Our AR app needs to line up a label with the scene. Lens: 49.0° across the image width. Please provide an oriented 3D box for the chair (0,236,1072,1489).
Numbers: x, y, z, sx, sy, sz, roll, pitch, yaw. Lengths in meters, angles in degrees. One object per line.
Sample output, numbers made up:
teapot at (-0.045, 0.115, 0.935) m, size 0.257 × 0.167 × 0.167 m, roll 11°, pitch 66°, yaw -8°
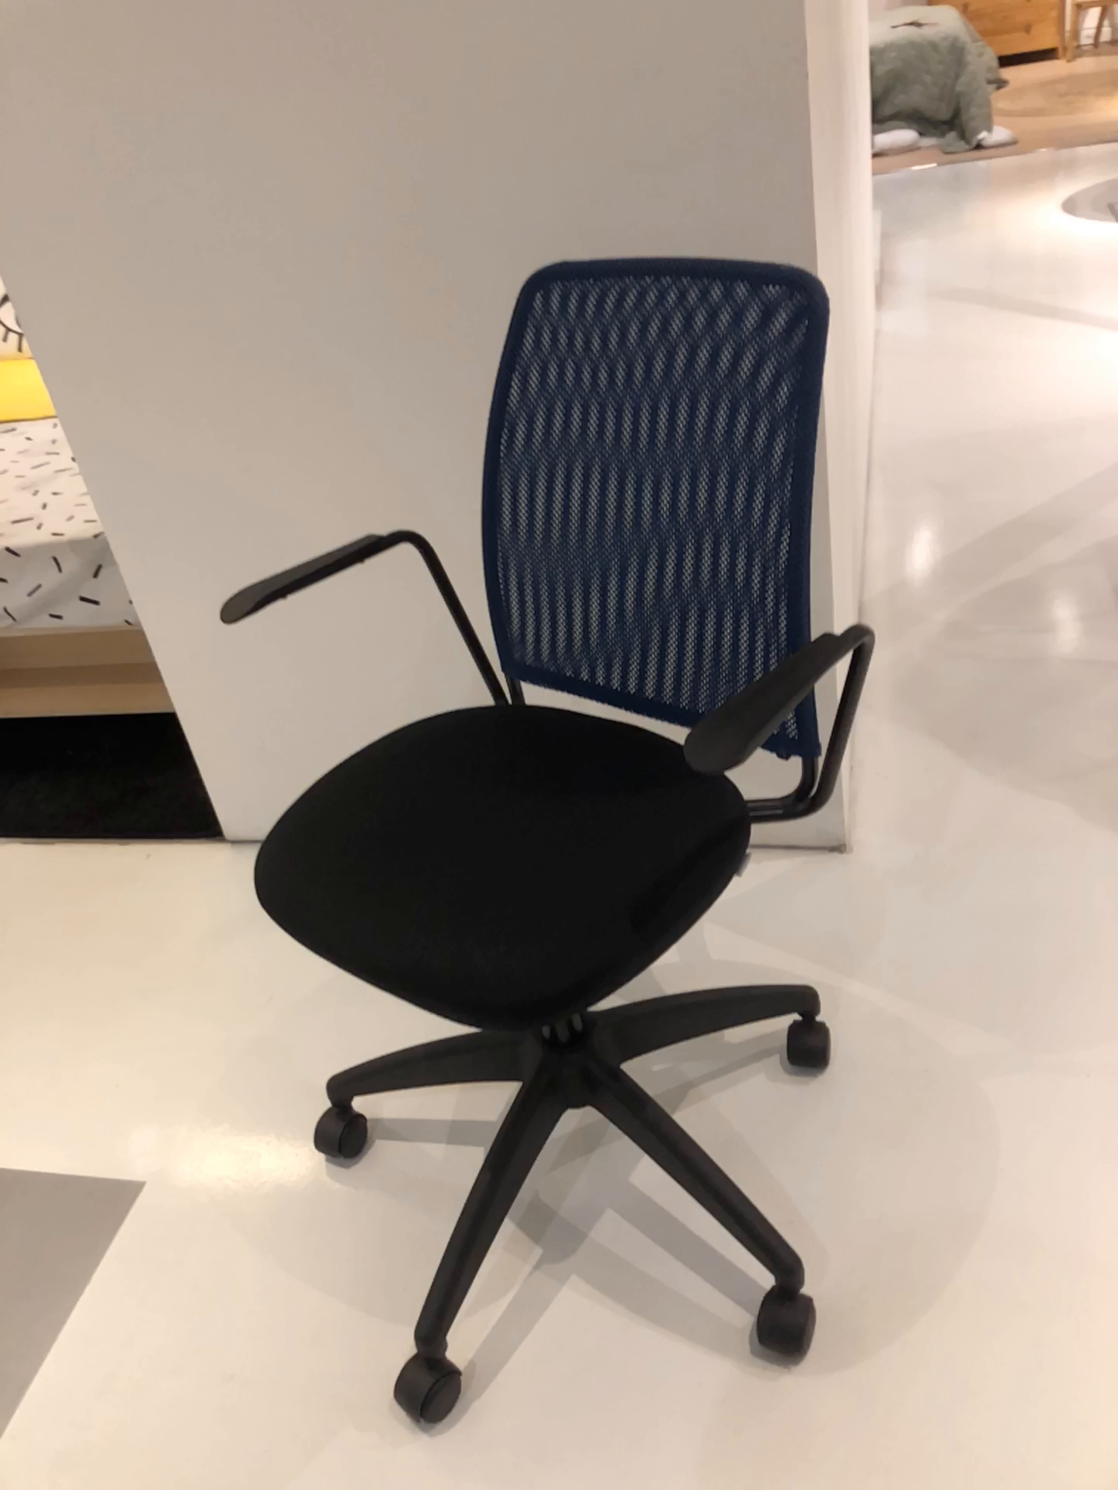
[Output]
chair at (-0.023, 0.100, 1.152) m, size 0.662 × 0.923 × 0.703 m, roll 20°, pitch 44°, yaw 39°
